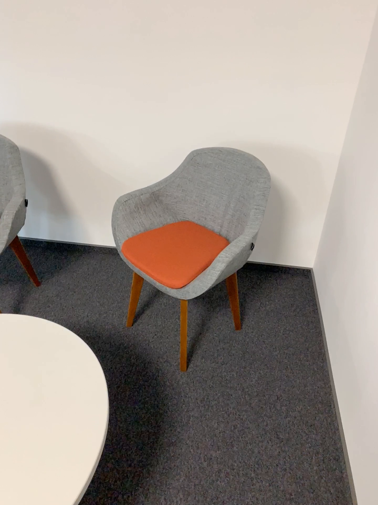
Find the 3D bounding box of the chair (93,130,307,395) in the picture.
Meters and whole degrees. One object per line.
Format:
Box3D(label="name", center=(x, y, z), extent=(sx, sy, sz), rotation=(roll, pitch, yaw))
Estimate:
Box3D(label="chair", center=(0.018, 0.008, 1.674), extent=(0.502, 0.835, 0.632), rotation=(-27, 43, -36))
